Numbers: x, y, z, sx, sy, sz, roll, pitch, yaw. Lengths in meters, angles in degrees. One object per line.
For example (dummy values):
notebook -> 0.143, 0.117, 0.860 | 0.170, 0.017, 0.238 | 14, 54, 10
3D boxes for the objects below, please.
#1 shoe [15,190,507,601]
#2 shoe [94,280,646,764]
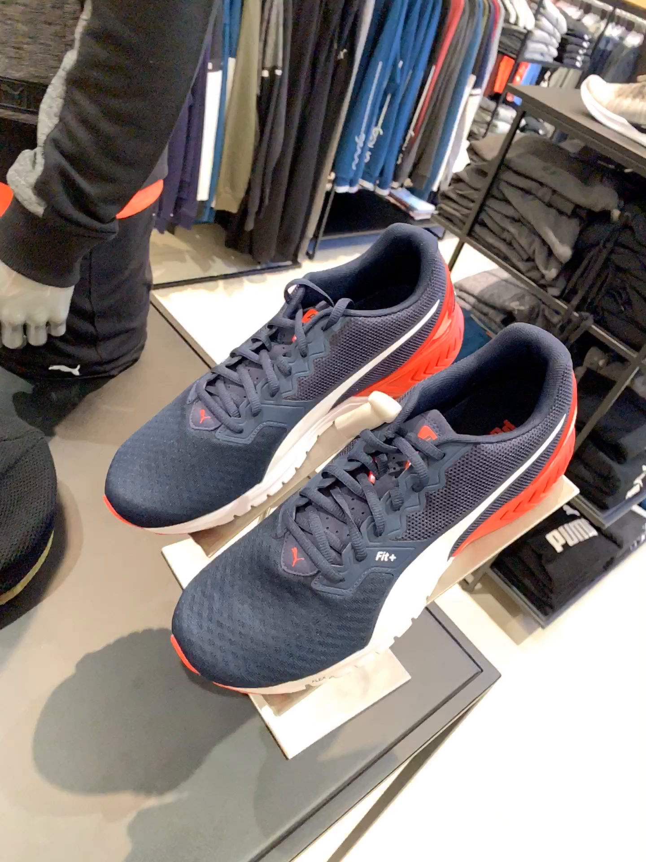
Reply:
shoe -> -0.026, -0.028, 0.386 | 0.251, 0.079, 0.100 | -34, 60, -16
shoe -> 0.032, 0.043, 0.361 | 0.261, 0.099, 0.100 | -34, 60, -16
